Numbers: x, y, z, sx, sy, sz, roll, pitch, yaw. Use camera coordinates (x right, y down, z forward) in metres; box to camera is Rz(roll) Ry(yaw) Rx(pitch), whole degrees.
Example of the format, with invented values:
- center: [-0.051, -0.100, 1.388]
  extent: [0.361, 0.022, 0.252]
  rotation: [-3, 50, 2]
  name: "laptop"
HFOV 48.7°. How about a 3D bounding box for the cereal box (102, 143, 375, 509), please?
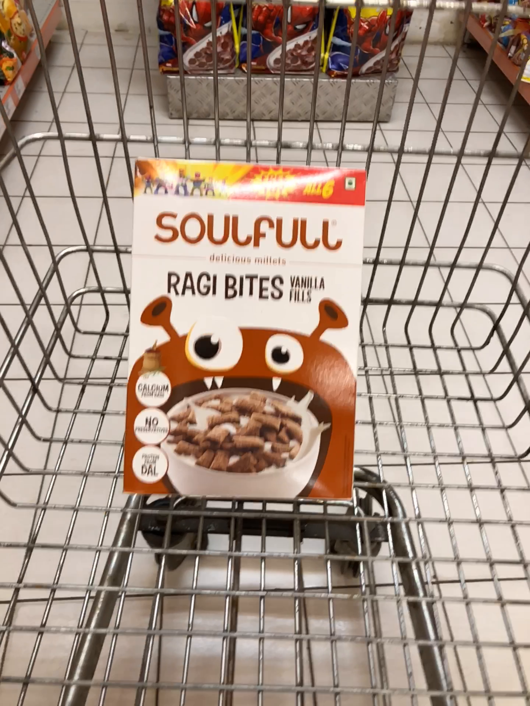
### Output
- center: [-0.021, -0.018, 0.451]
  extent: [0.180, 0.250, 0.070]
  rotation: [3, 3, -3]
  name: "cereal box"
